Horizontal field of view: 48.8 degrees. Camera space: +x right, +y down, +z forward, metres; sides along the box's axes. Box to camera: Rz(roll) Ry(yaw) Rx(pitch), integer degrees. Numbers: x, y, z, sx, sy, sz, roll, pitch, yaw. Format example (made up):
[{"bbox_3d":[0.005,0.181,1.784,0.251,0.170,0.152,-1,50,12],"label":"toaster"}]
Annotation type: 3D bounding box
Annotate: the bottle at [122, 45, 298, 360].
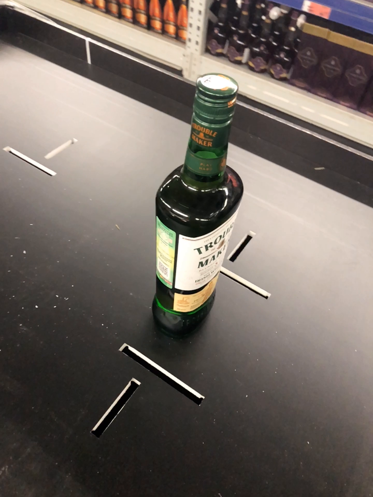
[{"bbox_3d":[0.008,-0.017,0.401,0.080,0.298,0.100,33,54,21],"label":"bottle"}]
